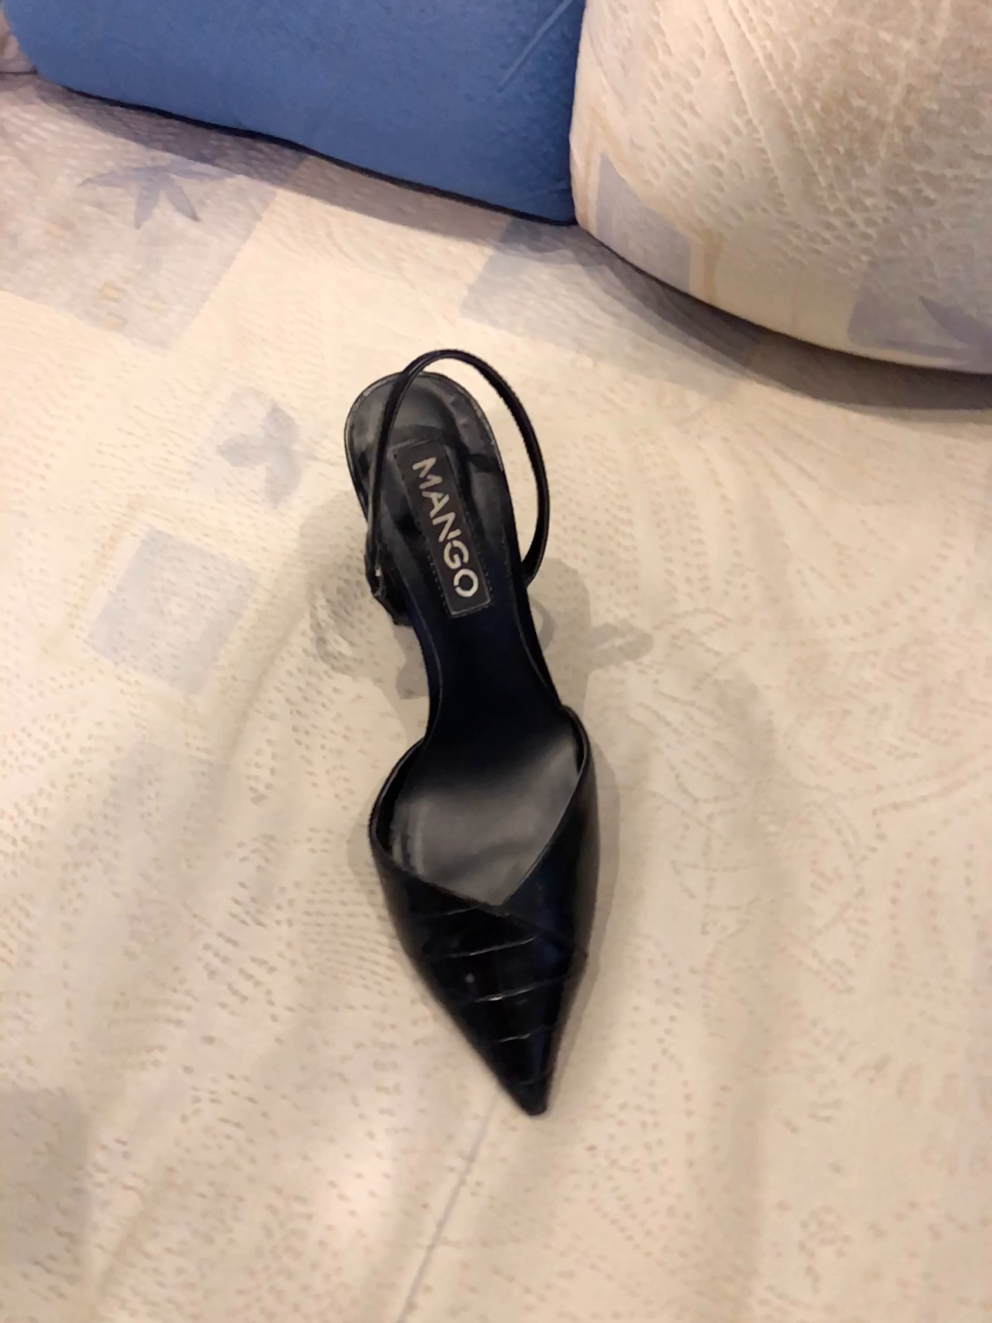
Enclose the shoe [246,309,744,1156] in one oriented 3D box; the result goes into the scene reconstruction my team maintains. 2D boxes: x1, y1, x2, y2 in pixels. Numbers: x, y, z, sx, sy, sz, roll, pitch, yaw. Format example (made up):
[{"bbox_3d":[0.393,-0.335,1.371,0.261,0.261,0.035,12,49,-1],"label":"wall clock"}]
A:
[{"bbox_3d":[-0.010,0.024,0.369,0.100,0.129,0.241,-10,63,-3],"label":"shoe"}]
